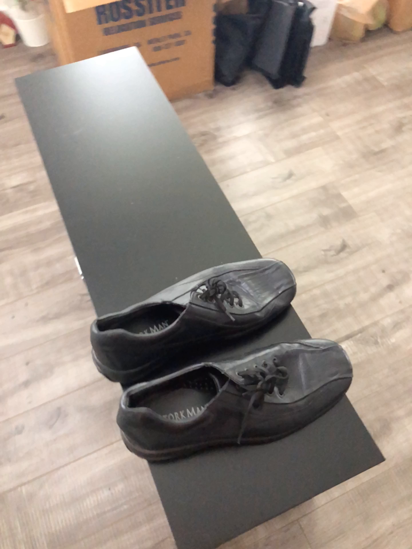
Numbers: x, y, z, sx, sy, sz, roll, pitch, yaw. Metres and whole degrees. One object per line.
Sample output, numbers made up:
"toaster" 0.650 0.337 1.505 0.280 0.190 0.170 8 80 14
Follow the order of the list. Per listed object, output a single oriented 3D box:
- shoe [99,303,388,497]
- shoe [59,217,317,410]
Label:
"shoe" 0.038 0.145 0.529 0.286 0.110 0.110 -16 60 -9
"shoe" -0.020 0.048 0.581 0.283 0.110 0.110 -22 61 -13
